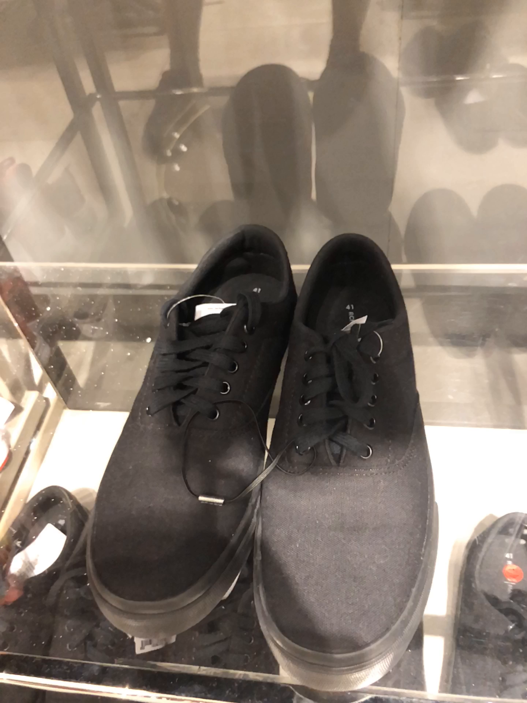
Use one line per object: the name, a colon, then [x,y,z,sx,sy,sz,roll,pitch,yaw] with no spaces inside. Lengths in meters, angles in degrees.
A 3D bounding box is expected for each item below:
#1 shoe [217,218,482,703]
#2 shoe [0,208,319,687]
shoe: [0.059,0.054,0.390,0.110,0.109,0.322,1,49,9]
shoe: [-0.040,0.040,0.425,0.110,0.109,0.322,5,50,13]
